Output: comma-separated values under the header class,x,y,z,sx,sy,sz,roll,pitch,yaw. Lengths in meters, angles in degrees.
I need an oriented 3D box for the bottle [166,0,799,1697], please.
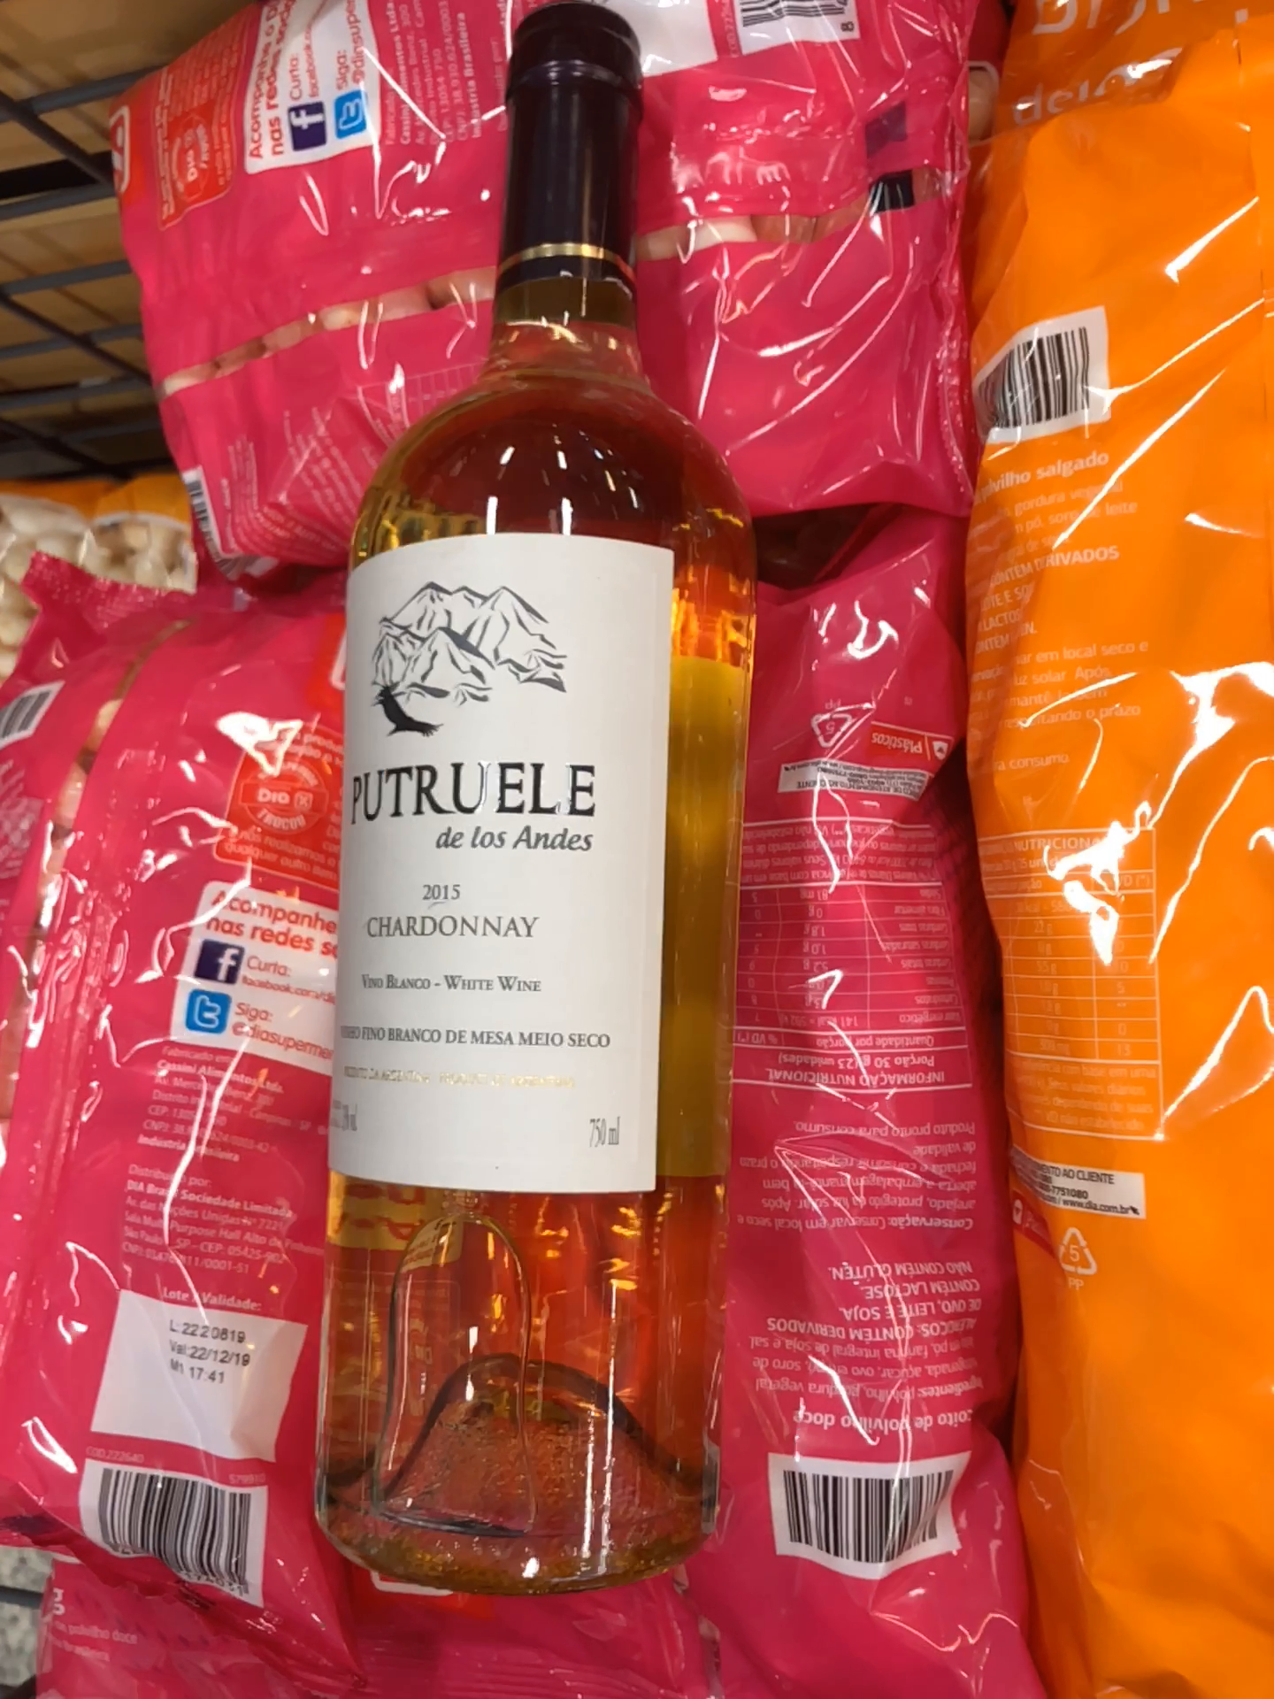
class,x,y,z,sx,sy,sz,roll,pitch,yaw
bottle,-0.019,-0.025,0.264,0.080,0.070,0.300,-1,81,18
